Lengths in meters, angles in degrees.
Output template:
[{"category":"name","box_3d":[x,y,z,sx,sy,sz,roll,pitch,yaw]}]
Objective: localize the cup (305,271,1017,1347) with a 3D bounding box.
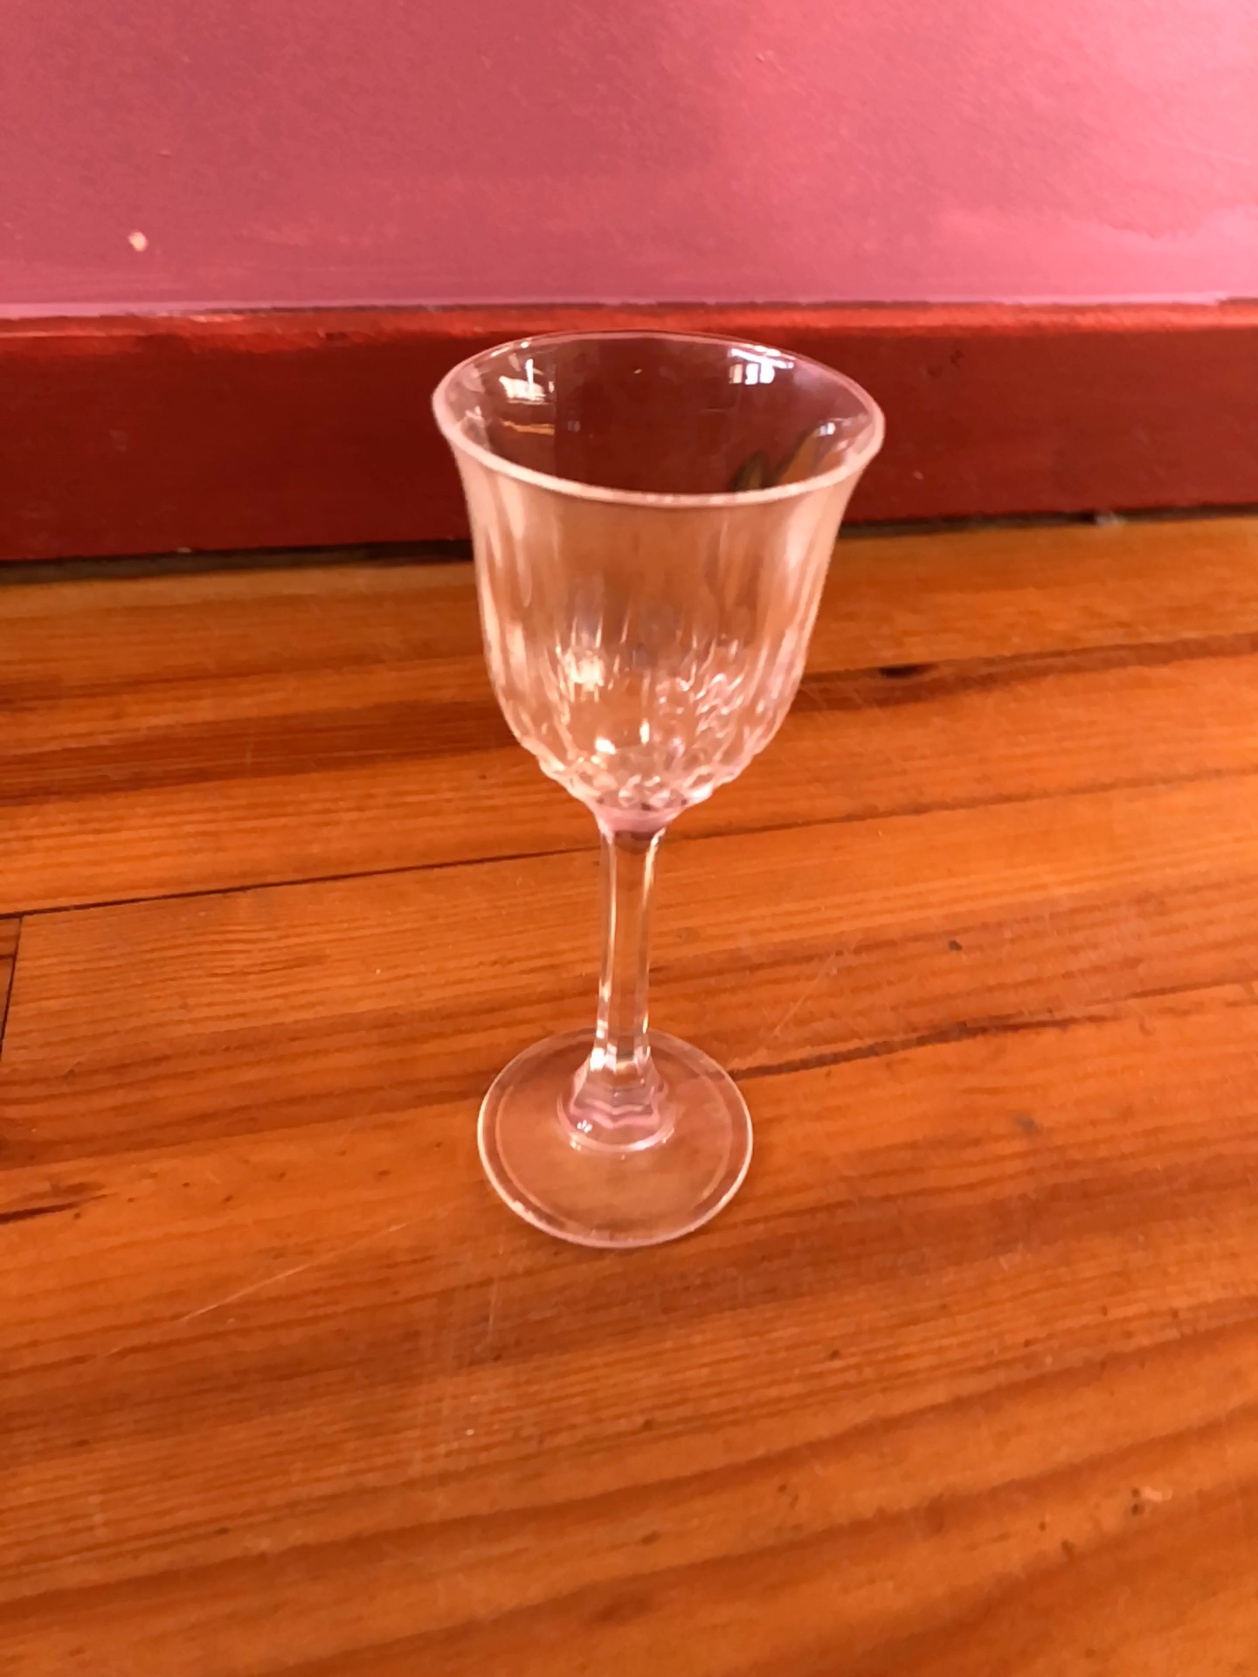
[{"category":"cup","box_3d":[0.000,-0.002,0.204,0.058,0.132,0.061,3,37,-2]}]
